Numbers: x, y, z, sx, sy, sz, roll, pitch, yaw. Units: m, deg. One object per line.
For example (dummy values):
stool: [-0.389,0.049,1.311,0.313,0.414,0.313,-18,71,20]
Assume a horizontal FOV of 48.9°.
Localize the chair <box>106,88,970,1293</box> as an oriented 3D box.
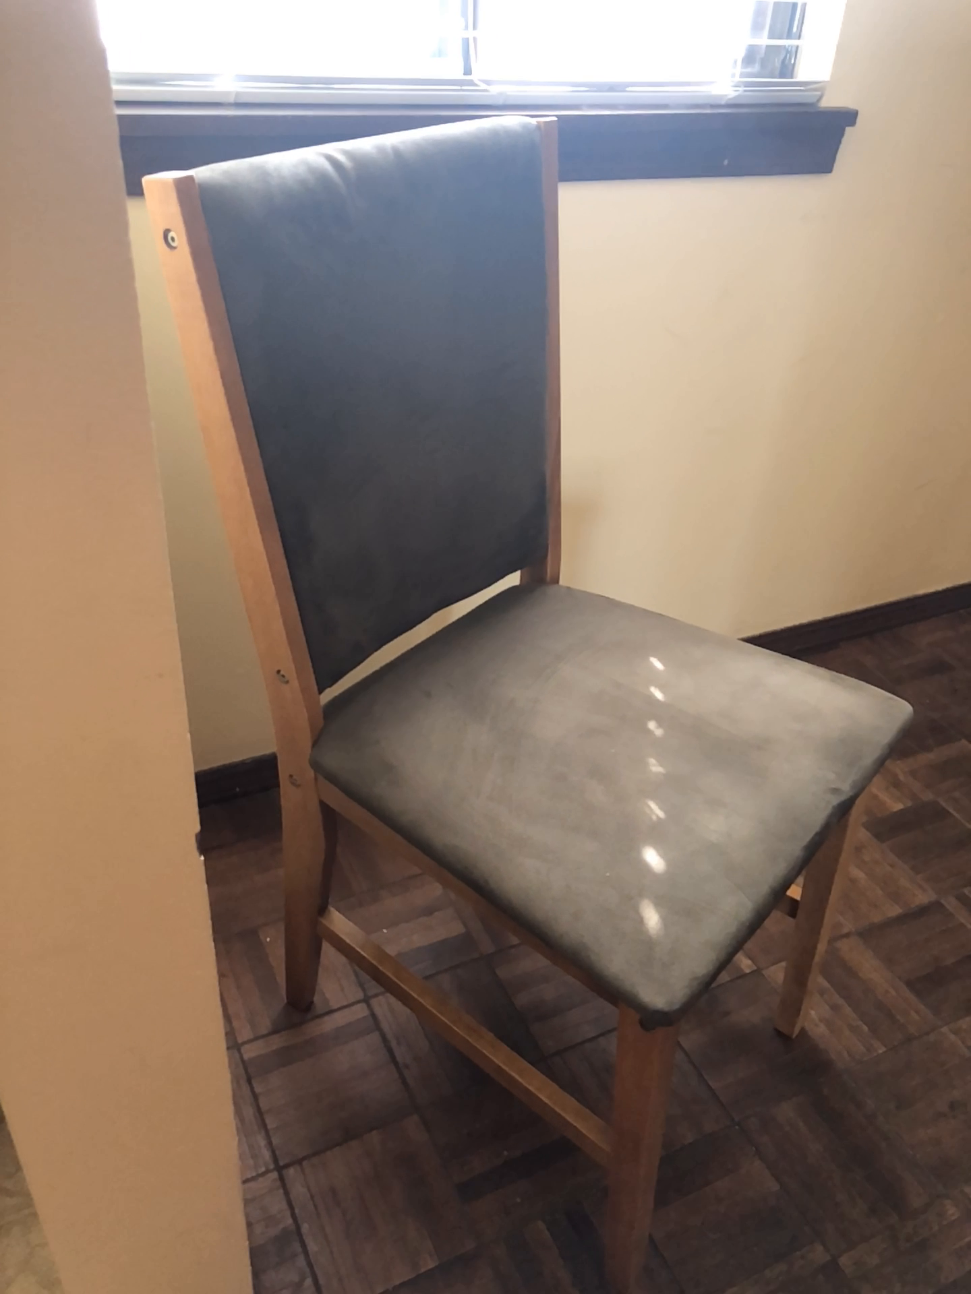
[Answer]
chair: [0.098,0.011,0.961,0.510,0.858,0.491,23,38,31]
